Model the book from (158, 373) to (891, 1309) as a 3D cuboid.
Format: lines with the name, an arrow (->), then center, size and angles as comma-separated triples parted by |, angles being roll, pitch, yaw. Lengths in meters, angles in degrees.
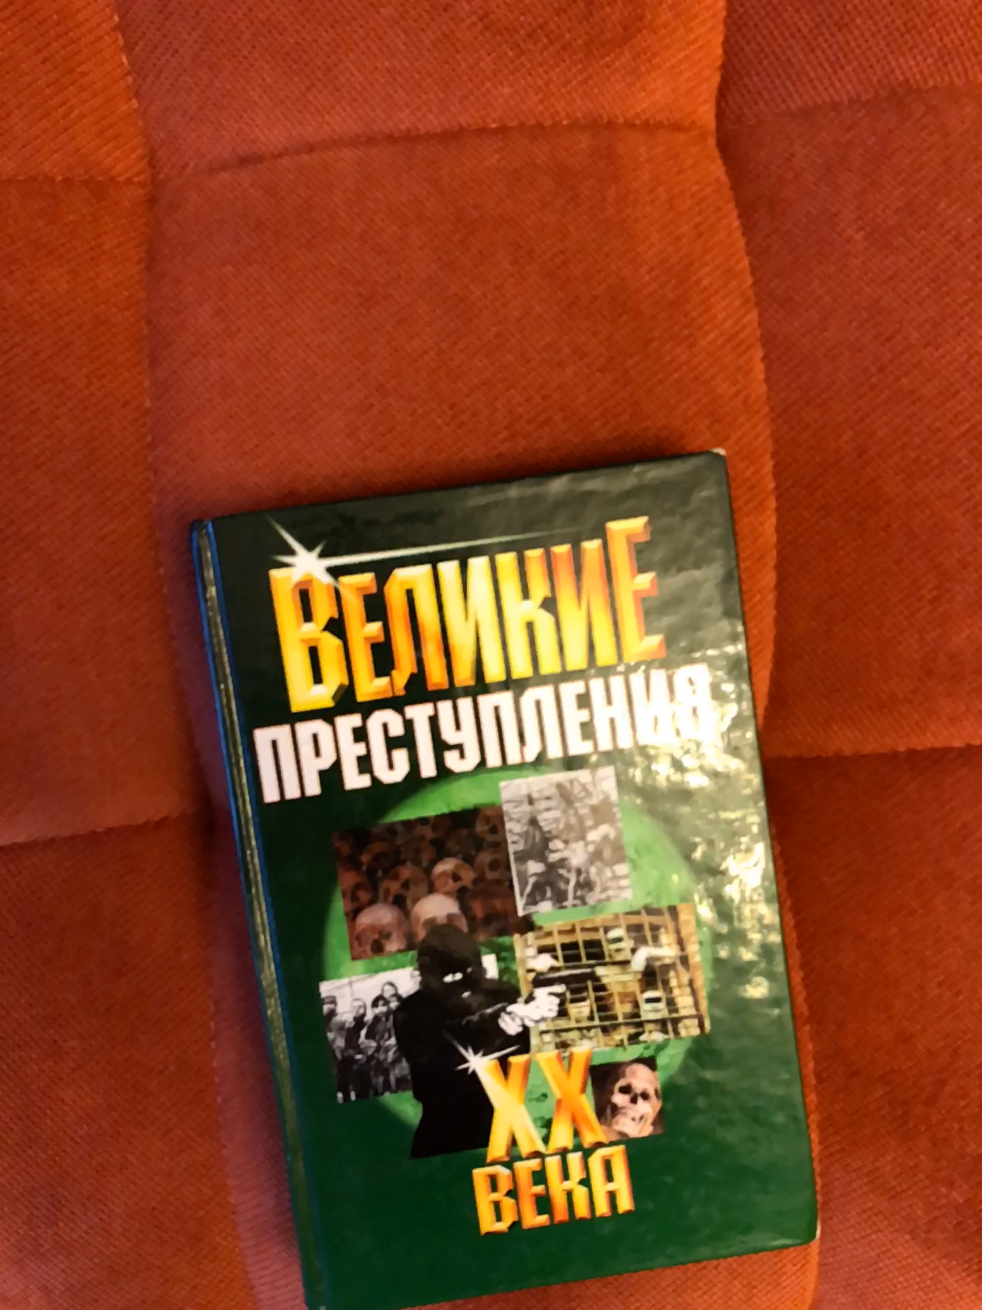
book -> 0.011, 0.053, 0.297 | 0.160, 0.040, 0.230 | -7, 93, 0
